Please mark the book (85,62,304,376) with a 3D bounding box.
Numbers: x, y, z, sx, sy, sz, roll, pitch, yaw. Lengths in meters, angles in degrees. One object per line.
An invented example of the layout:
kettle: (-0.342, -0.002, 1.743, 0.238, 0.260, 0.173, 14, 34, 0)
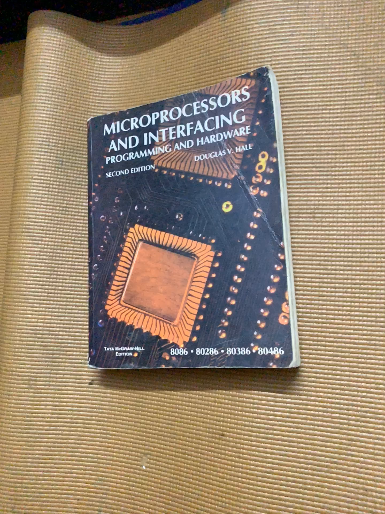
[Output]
book: (-0.010, -0.035, 0.497, 0.260, 0.060, 0.339, -5, 81, 24)
